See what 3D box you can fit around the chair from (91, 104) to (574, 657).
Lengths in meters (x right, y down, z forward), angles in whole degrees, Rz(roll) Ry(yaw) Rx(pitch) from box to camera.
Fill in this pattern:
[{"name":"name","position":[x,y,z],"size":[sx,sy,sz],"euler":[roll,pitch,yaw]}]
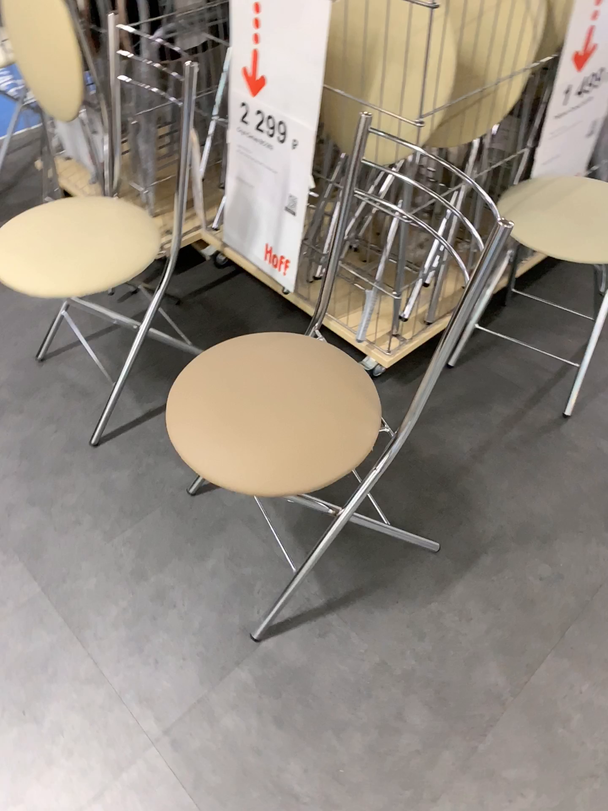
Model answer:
[{"name":"chair","position":[0.021,-0.005,1.127],"size":[0.490,0.796,0.442],"euler":[-22,51,-17]}]

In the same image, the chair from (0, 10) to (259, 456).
[{"name":"chair","position":[-0.487,-0.399,1.506],"size":[0.491,0.776,0.522],"euler":[-32,55,-24]}]
